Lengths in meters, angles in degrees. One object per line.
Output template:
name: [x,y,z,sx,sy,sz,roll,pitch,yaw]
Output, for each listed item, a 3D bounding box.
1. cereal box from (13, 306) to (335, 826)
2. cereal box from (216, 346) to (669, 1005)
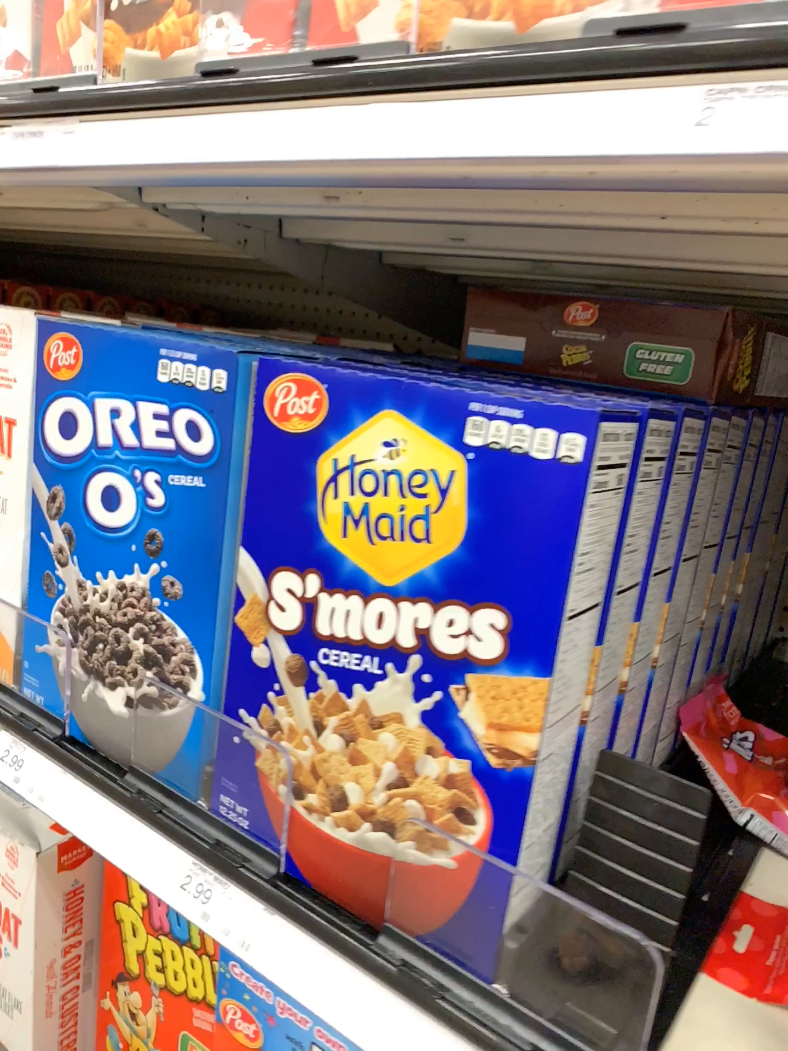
cereal box: [-0.145,0.014,0.506,0.180,0.269,0.070,15,13,31]
cereal box: [0.009,0.058,0.414,0.190,0.269,0.060,16,13,34]
